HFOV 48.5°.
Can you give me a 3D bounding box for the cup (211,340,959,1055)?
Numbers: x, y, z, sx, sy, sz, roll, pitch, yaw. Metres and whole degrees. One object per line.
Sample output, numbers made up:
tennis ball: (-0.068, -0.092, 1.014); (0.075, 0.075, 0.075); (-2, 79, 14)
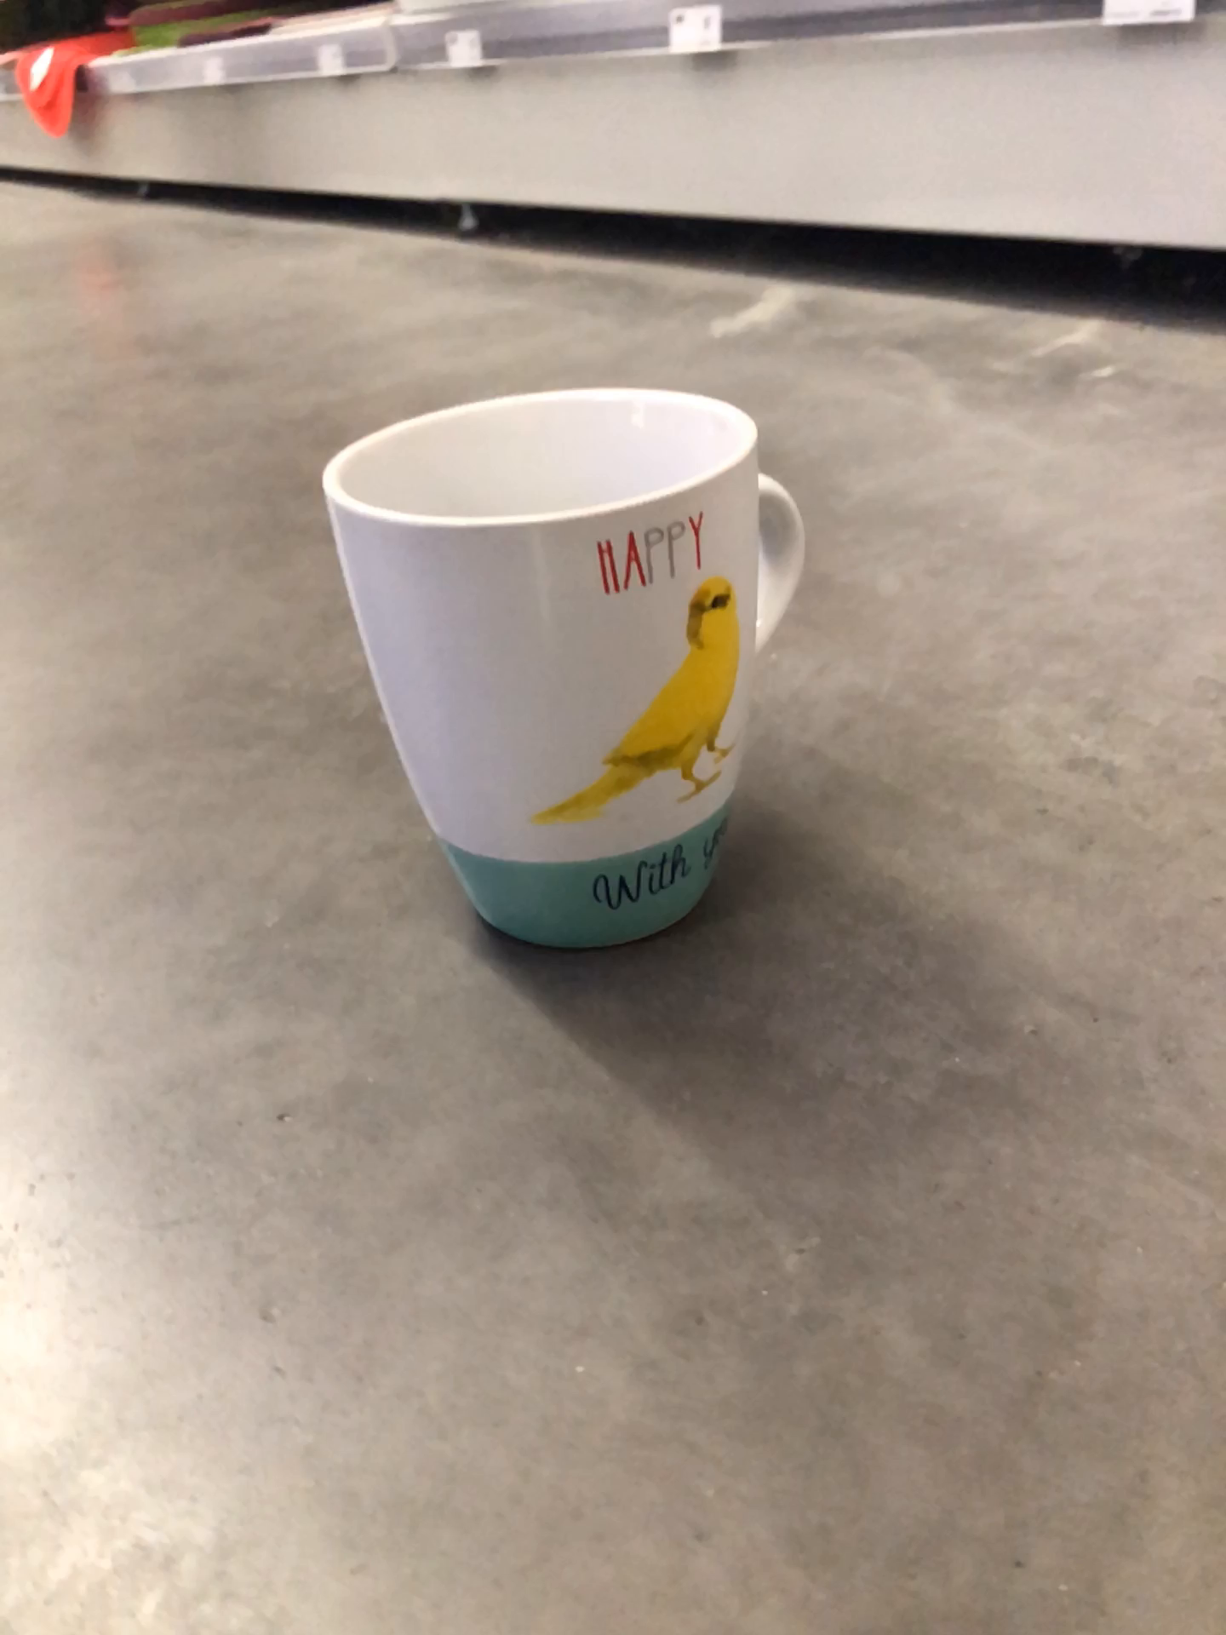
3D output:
cup: (-0.001, -0.039, 0.320); (0.130, 0.107, 0.098); (-26, 36, -30)
